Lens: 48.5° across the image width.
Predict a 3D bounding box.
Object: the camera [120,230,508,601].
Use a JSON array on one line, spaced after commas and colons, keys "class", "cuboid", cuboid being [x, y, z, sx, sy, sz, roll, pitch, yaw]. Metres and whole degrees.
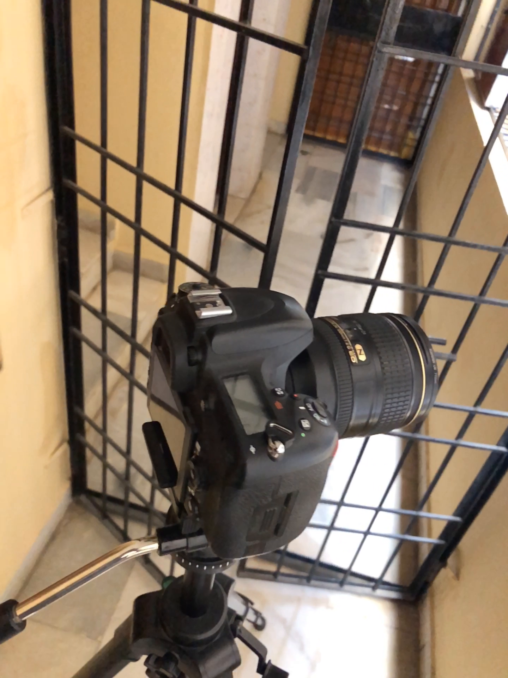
[{"class": "camera", "cuboid": [0.023, 0.026, 0.339, 0.171, 0.105, 0.171, -7, 41, -22]}]
